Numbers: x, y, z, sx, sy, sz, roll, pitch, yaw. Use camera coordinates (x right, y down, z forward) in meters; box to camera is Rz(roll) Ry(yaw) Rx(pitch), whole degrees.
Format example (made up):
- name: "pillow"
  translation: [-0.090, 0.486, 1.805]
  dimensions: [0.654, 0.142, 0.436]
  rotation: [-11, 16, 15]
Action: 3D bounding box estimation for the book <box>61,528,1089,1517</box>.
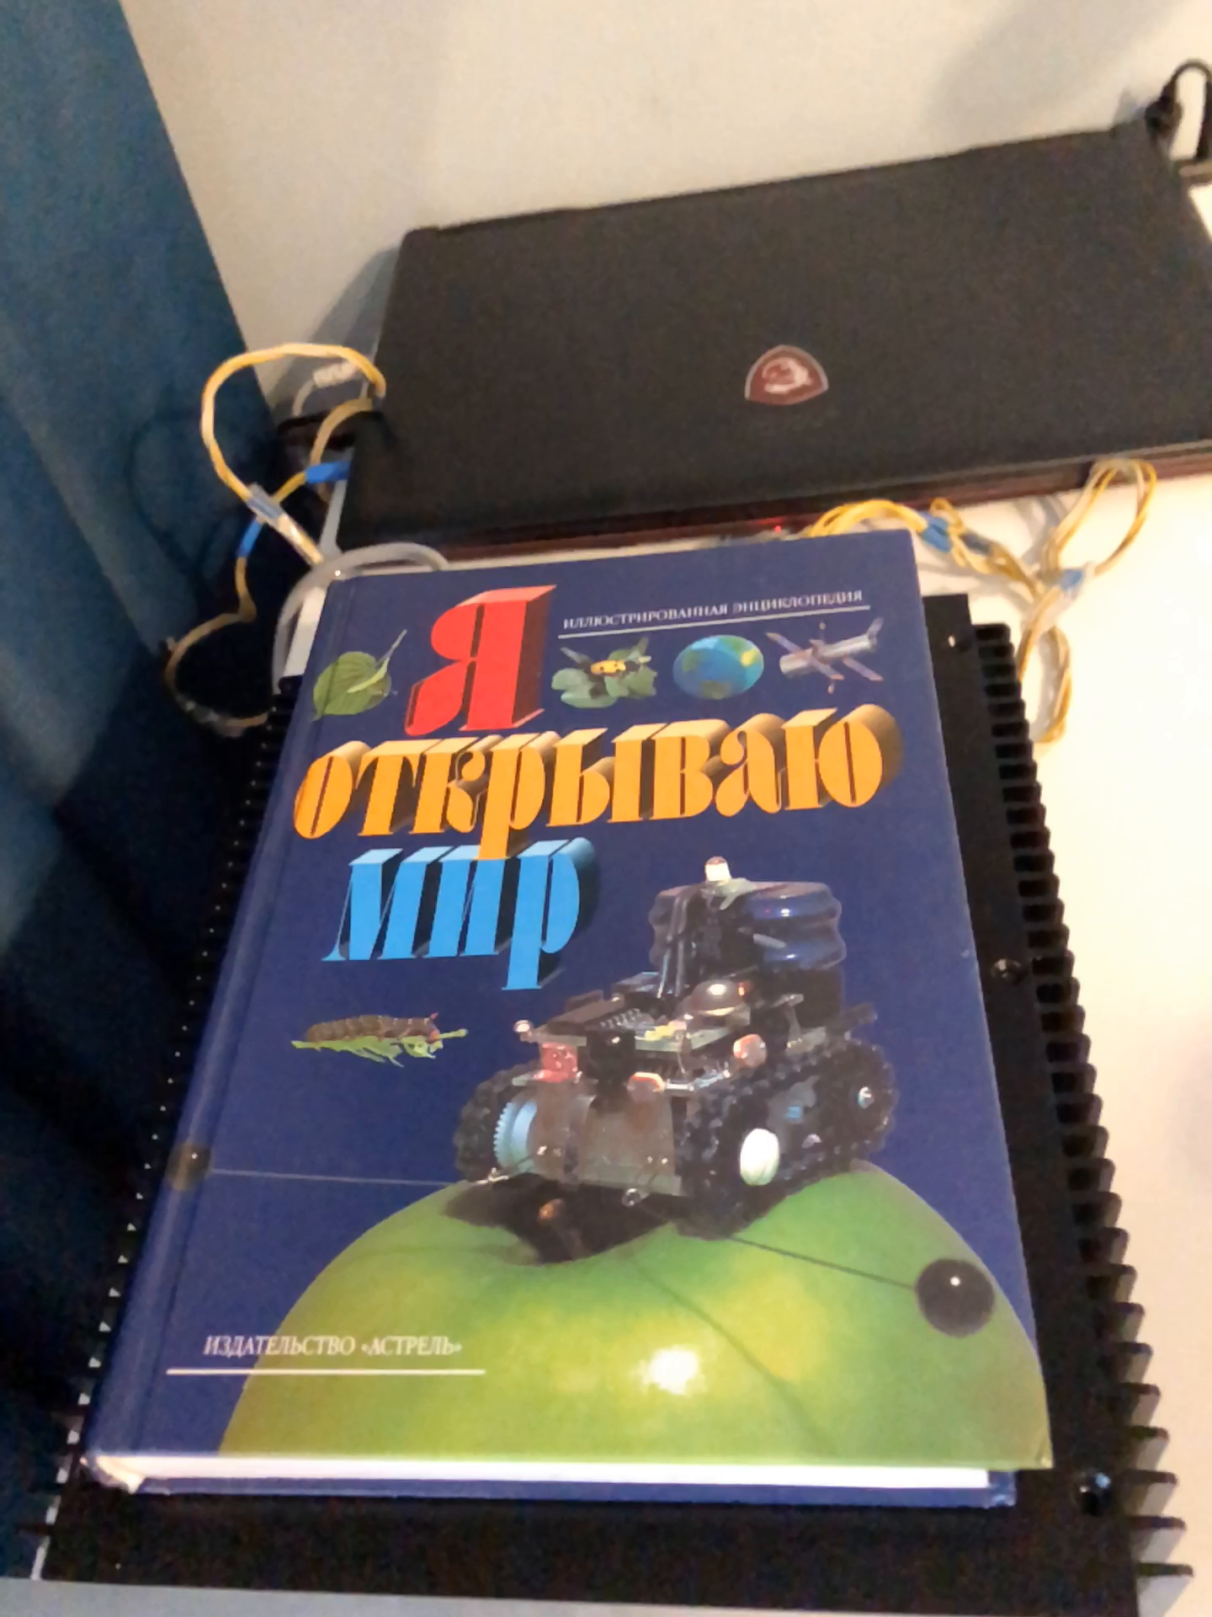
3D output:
- name: "book"
  translation: [-0.001, 0.028, 0.334]
  dimensions: [0.186, 0.030, 0.257]
  rotation: [-3, 49, 9]
